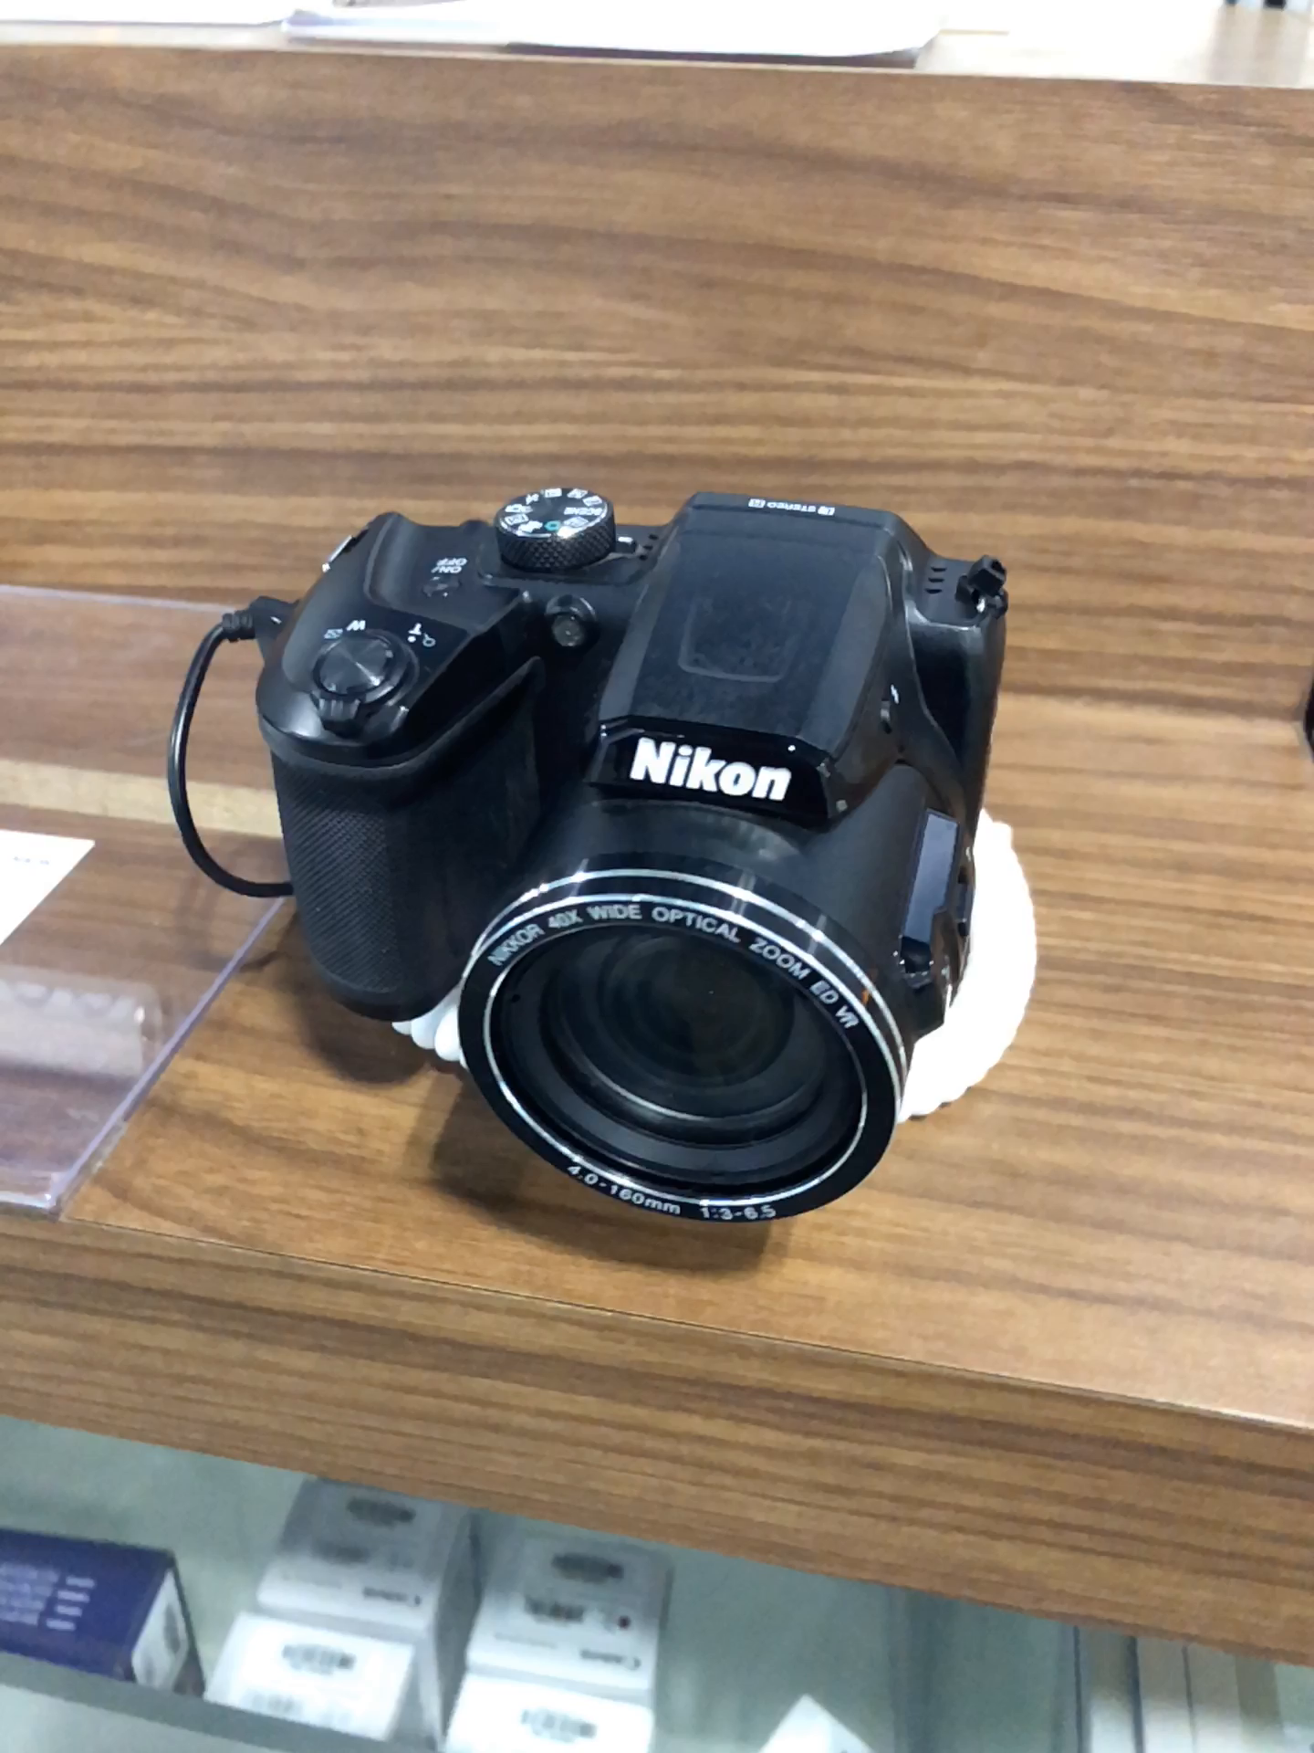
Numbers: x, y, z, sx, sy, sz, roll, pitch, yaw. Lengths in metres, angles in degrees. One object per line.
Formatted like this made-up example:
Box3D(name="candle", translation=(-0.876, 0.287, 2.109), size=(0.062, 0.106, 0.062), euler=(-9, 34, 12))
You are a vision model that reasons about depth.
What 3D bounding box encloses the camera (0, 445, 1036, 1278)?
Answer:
Box3D(name="camera", translation=(-0.016, -0.012, 0.222), size=(0.130, 0.070, 0.101), euler=(7, 33, 9))
